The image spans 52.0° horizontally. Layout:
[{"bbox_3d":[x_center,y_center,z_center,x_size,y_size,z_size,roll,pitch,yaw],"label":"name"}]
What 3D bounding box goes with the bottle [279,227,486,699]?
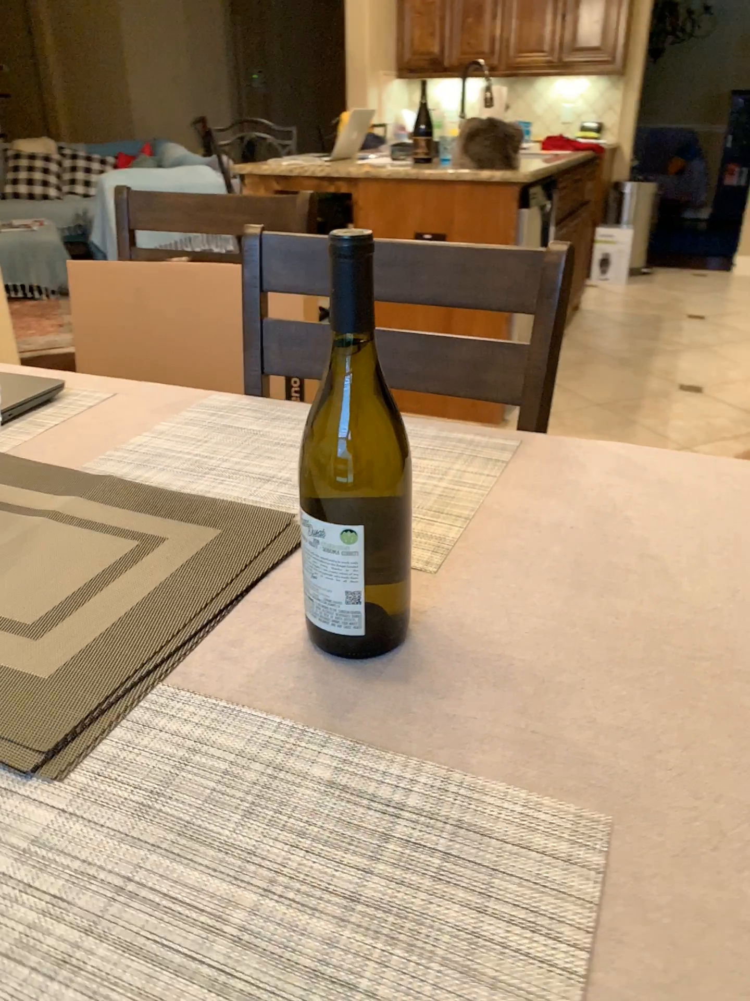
[{"bbox_3d":[0.005,-0.022,0.511,0.090,0.288,0.080,19,32,33],"label":"bottle"}]
